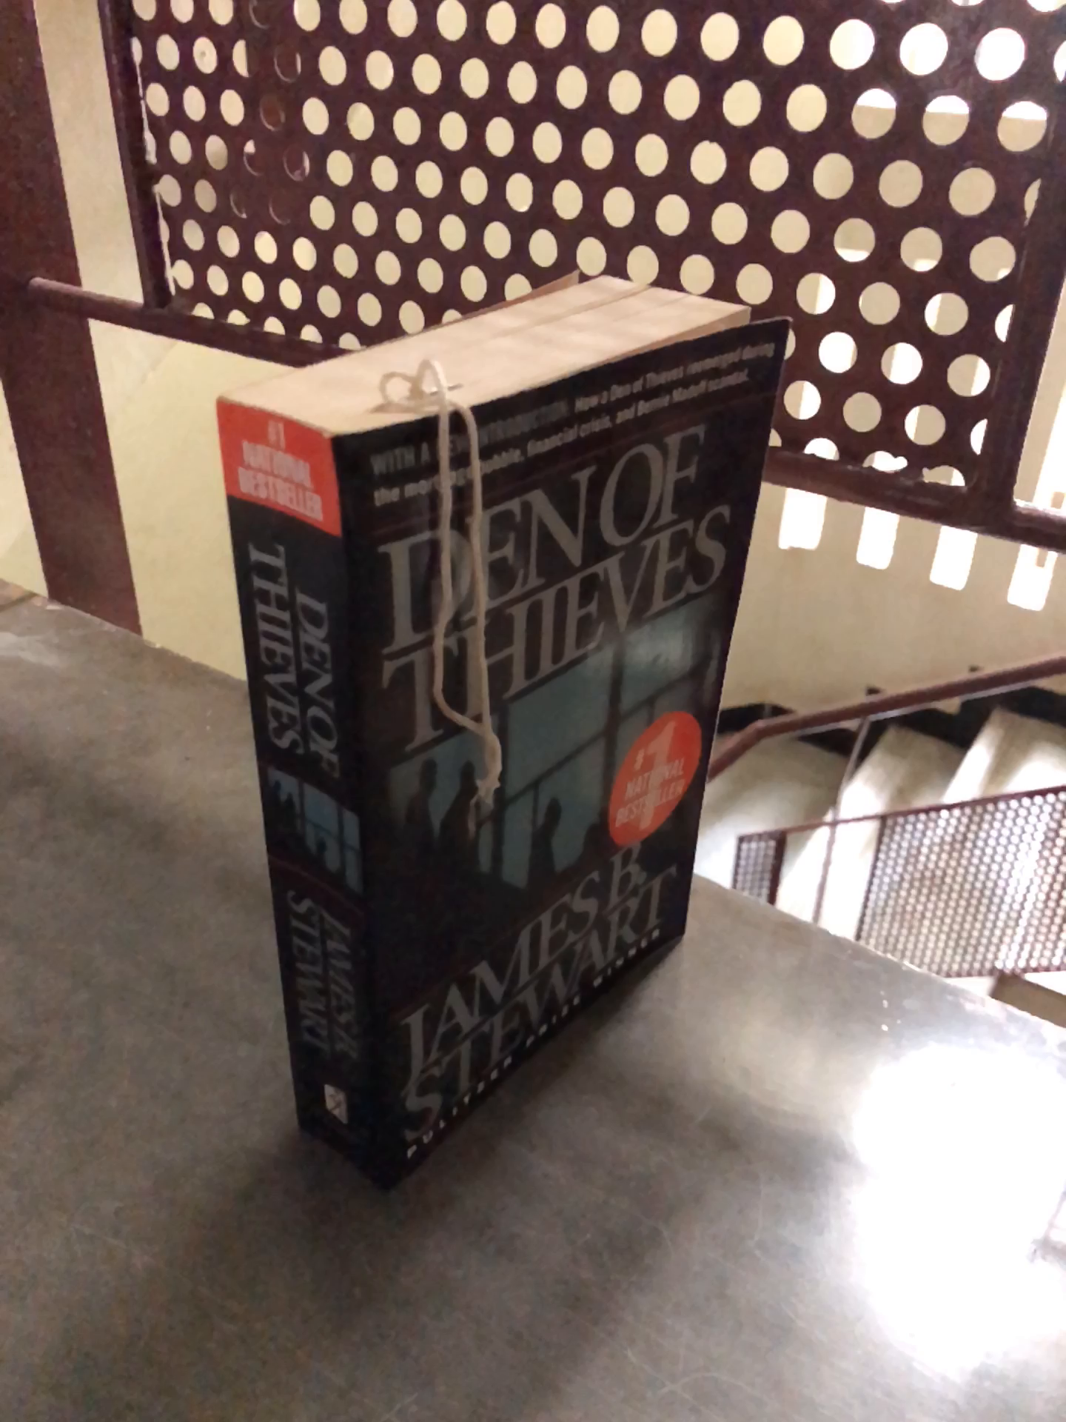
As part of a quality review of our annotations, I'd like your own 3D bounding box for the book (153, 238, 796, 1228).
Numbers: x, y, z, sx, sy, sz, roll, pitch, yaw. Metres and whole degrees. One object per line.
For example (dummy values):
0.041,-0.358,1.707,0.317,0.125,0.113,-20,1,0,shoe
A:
-0.004,0.000,0.328,0.050,0.219,0.171,22,37,30,book
